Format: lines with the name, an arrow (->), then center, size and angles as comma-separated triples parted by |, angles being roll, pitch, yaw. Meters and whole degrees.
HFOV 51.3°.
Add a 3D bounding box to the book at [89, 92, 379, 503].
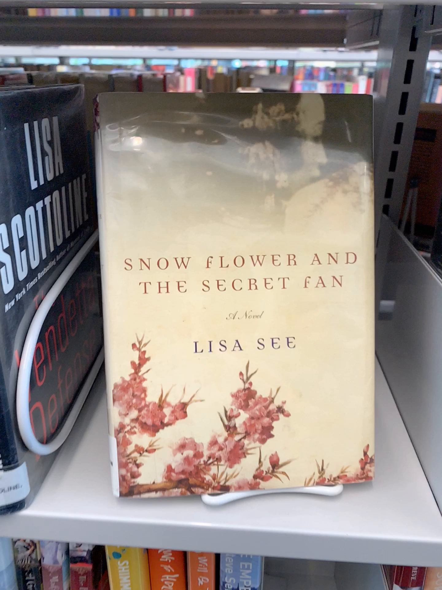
book -> 0.011, 0.000, 0.286 | 0.162, 0.231, 0.041 | -2, 5, -6
